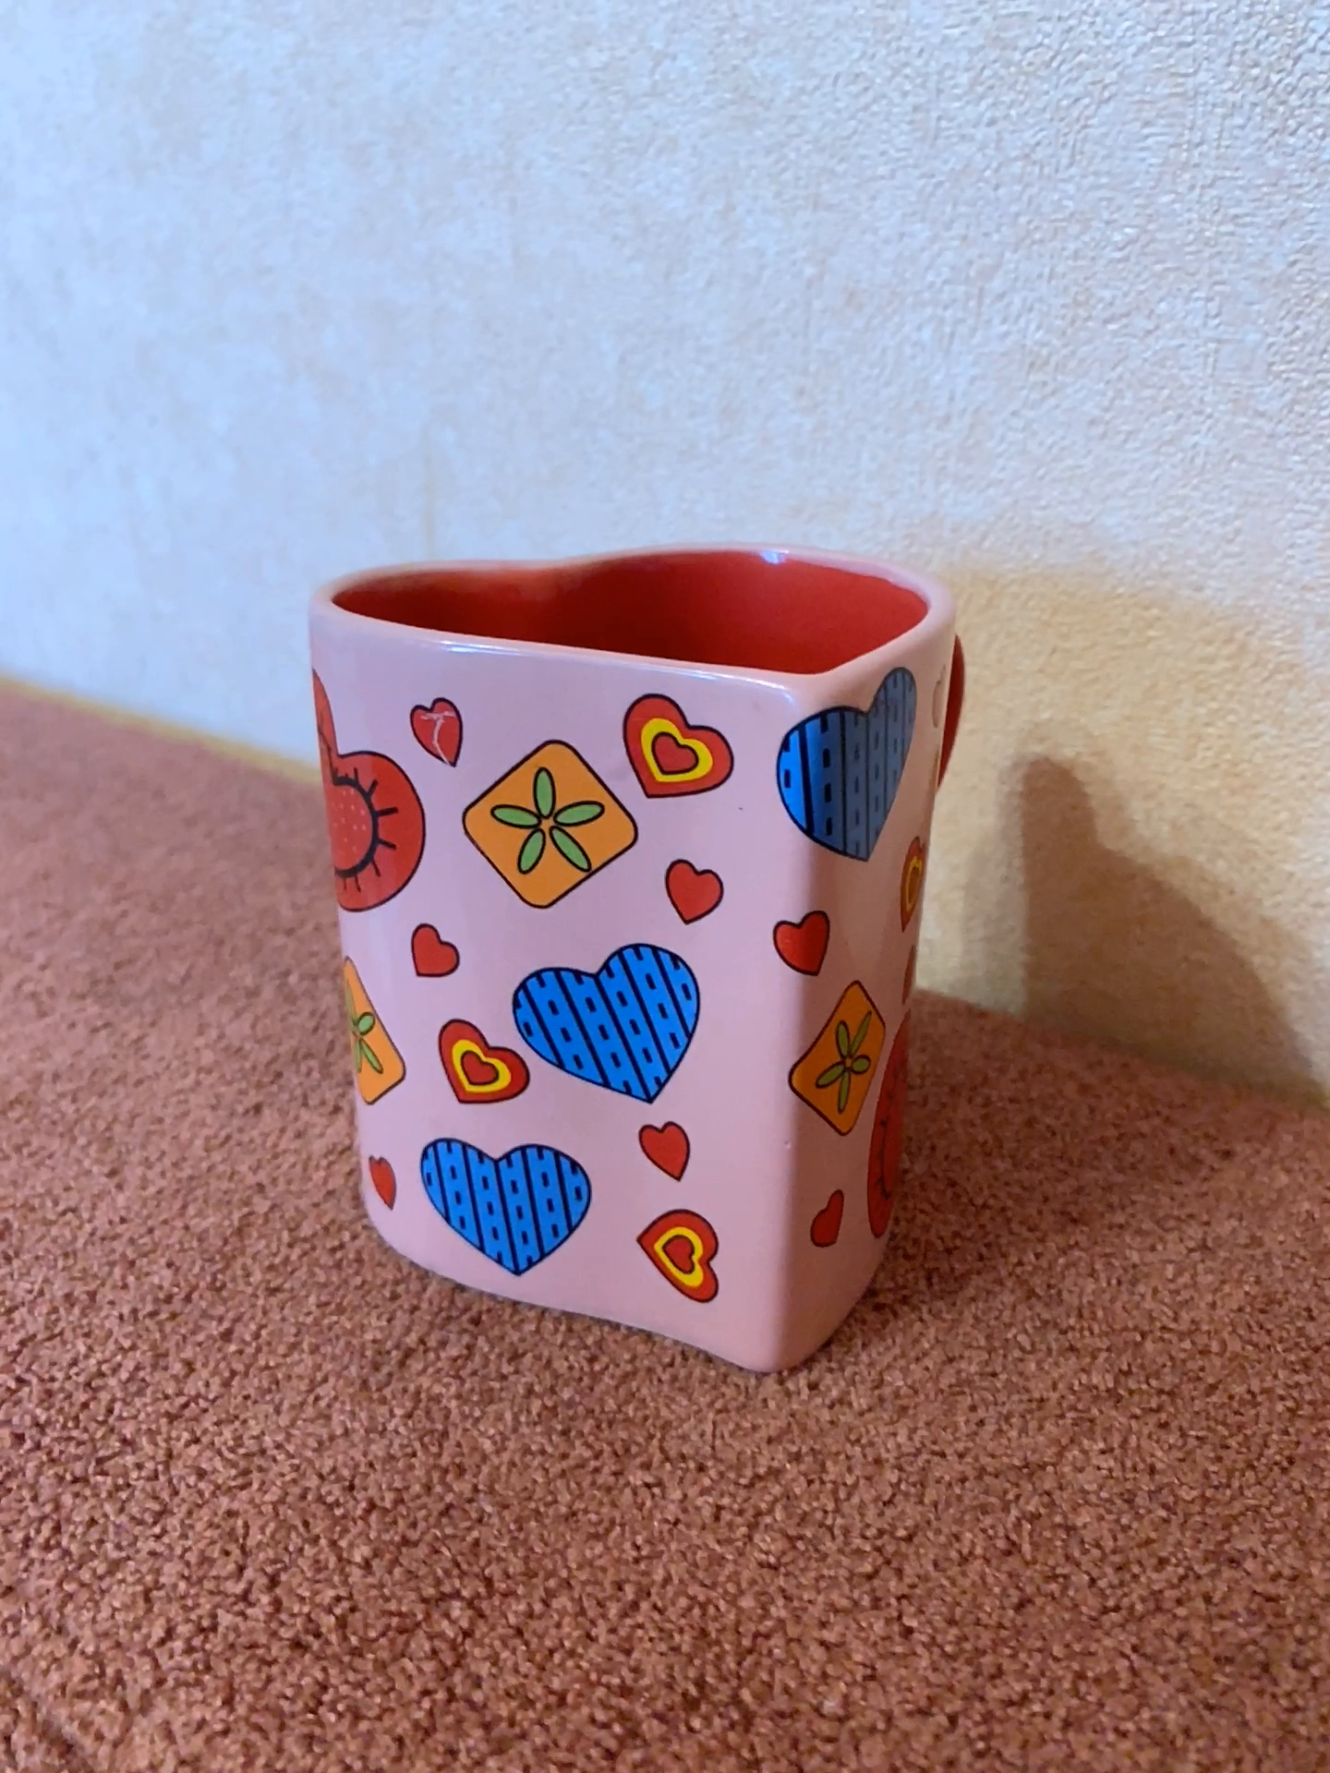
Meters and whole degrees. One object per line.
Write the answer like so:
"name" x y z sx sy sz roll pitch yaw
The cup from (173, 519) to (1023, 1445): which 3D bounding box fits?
"cup" -0.002 0.003 0.197 0.085 0.091 0.082 1 23 0
